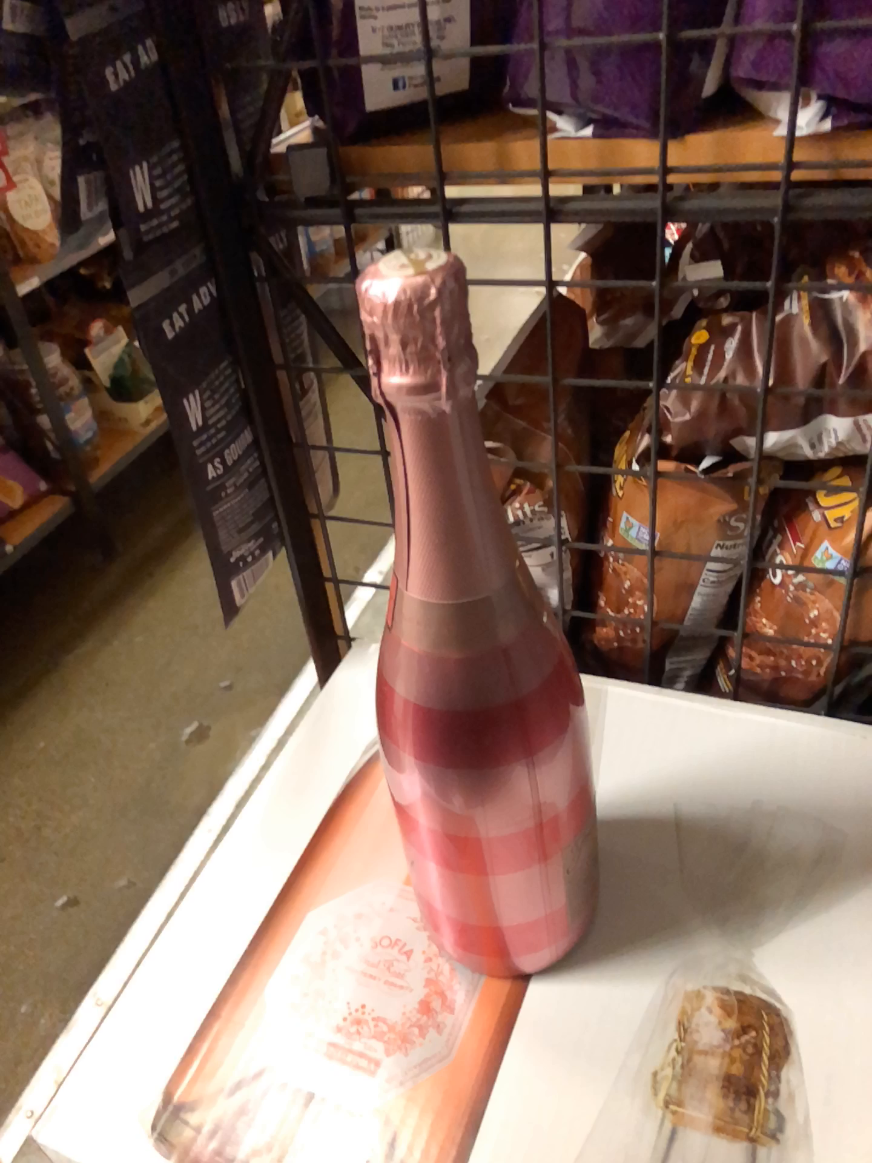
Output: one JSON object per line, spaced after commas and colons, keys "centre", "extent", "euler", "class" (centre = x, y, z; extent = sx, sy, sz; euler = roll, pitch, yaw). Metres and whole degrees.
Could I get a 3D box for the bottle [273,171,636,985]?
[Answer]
{"centre": [0.022, 0.024, 0.364], "extent": [0.090, 0.309, 0.090], "euler": [-5, 36, 4], "class": "bottle"}
